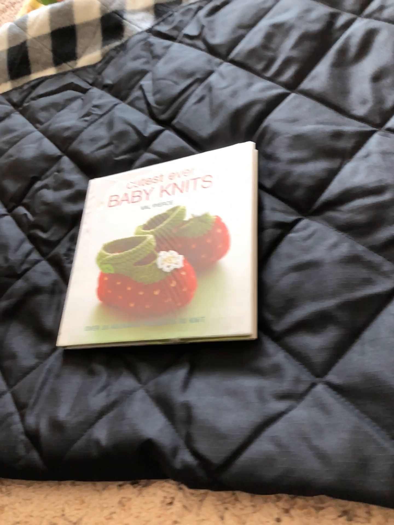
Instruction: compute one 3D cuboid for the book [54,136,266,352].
[{"bbox_3d":[-0.033,-0.018,0.424,0.197,0.020,0.200,-7,62,21],"label":"book"}]
